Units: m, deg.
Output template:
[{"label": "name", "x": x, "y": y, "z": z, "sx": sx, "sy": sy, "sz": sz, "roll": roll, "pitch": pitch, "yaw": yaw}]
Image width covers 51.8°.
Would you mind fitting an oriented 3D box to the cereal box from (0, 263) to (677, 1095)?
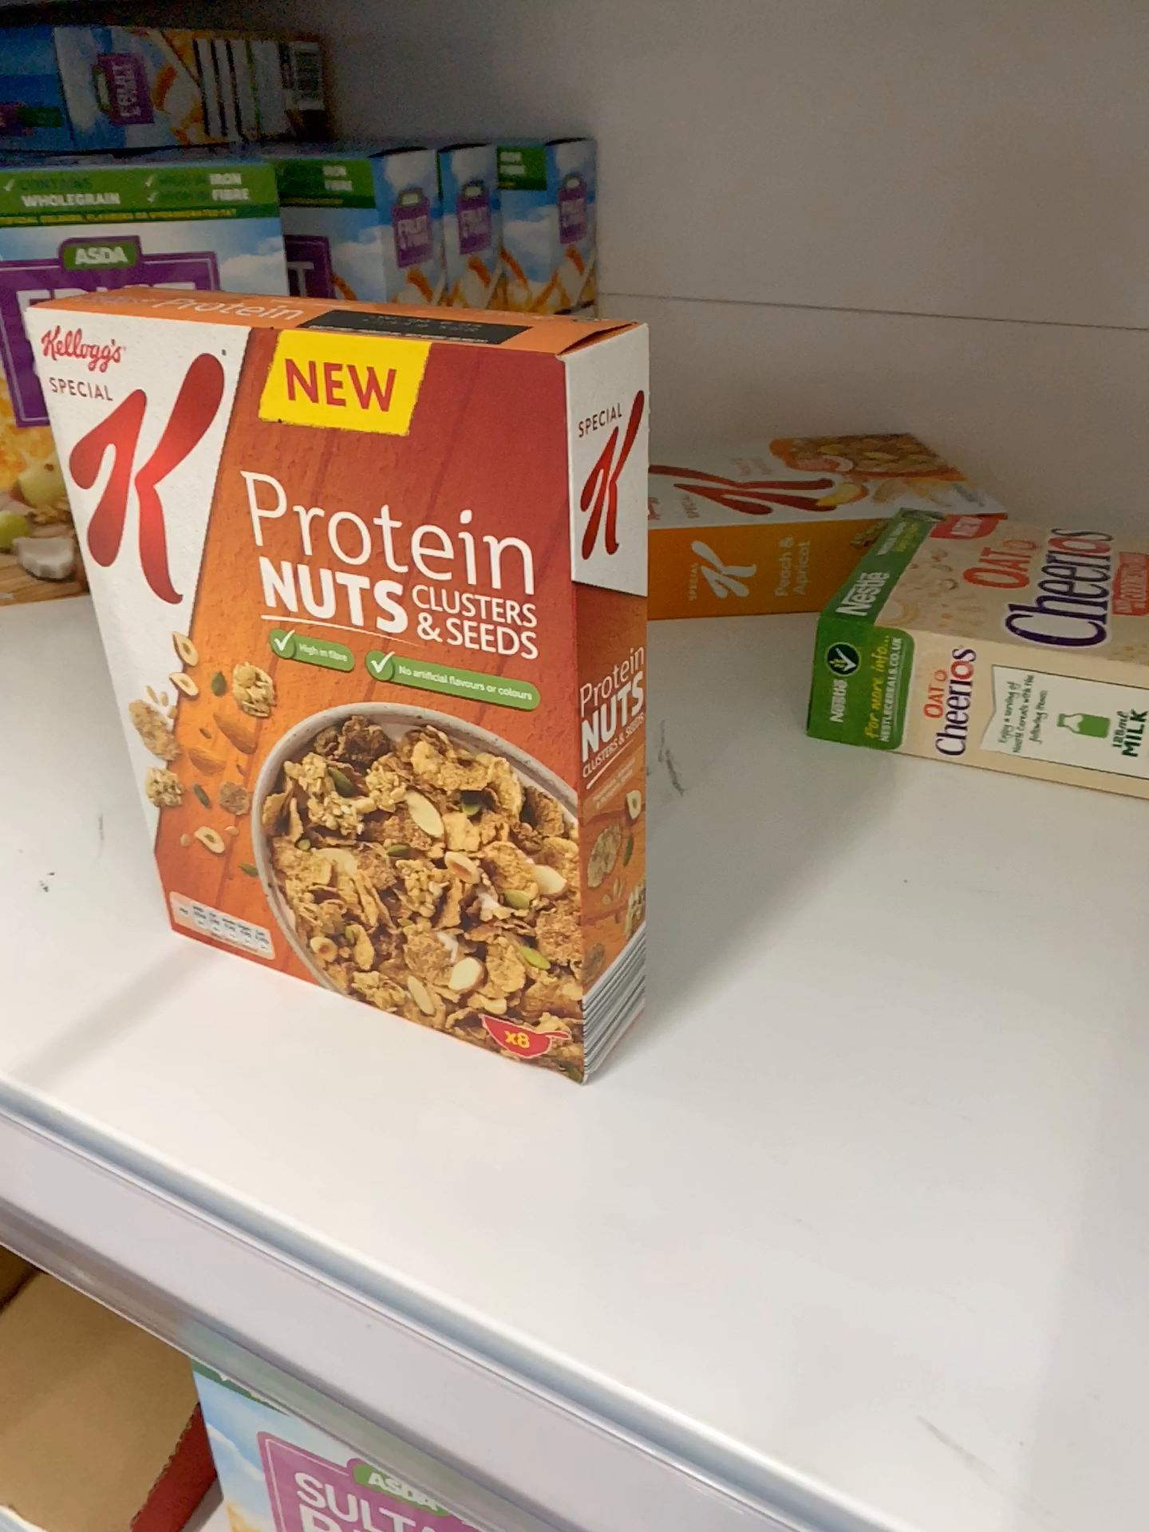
[{"label": "cereal box", "x": -0.074, "y": -0.034, "z": 0.401, "sx": 0.200, "sy": 0.238, "sz": 0.071, "roll": 14, "pitch": 33, "yaw": 26}]
